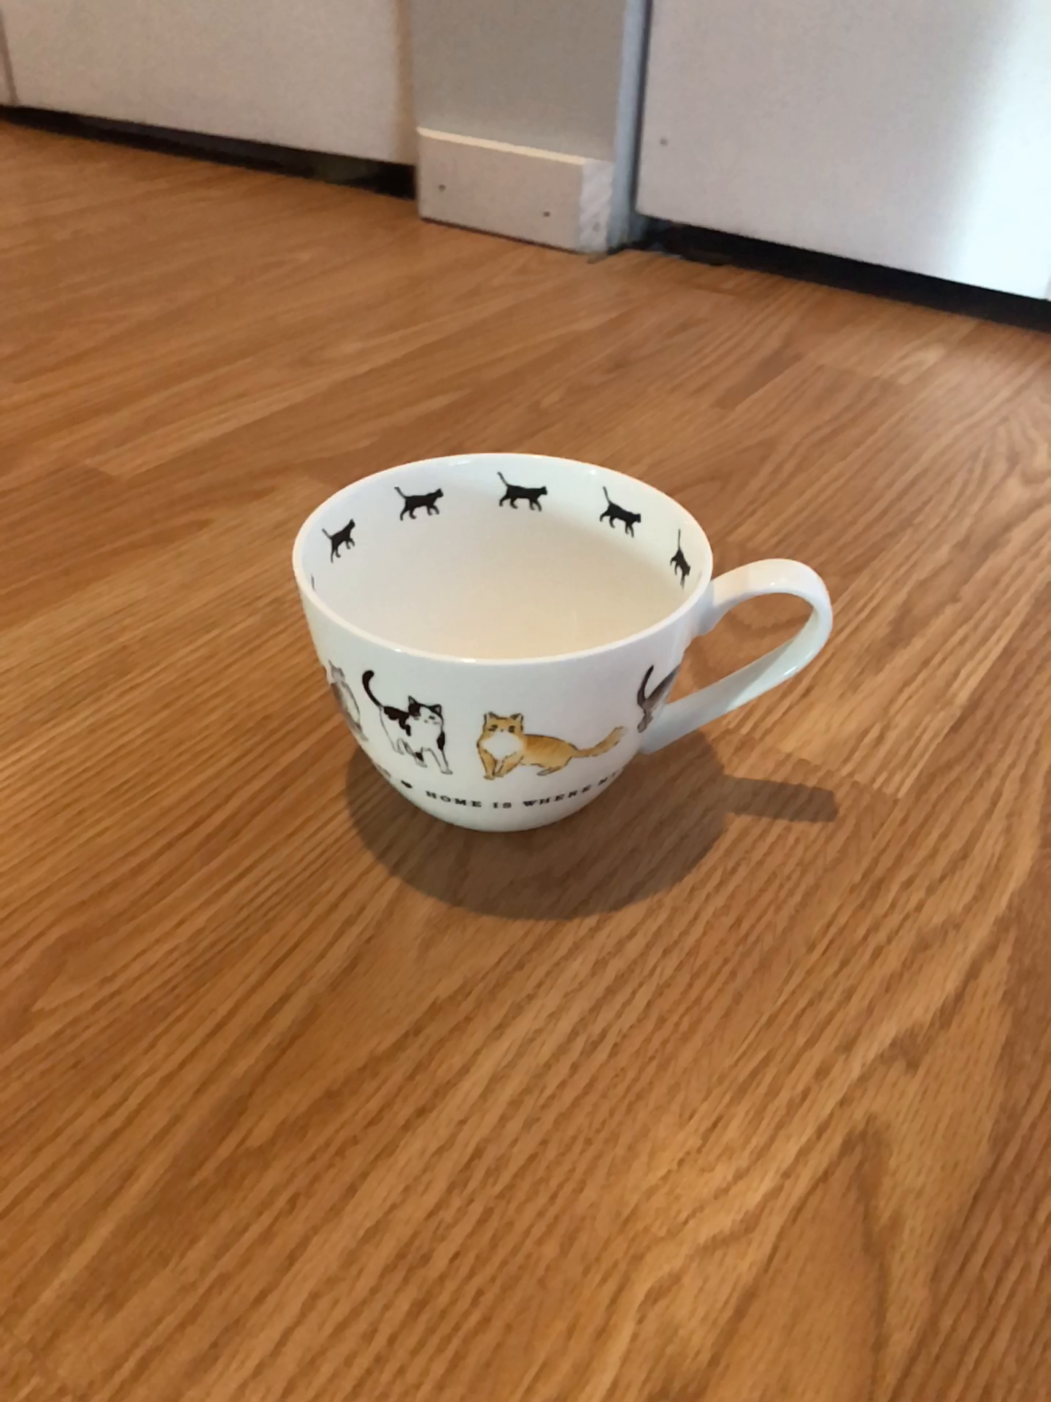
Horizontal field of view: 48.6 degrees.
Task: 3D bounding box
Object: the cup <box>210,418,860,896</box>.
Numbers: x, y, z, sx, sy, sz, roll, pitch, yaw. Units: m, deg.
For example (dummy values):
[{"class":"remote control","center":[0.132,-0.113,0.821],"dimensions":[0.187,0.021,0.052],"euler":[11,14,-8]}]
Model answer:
[{"class":"cup","center":[0.005,-0.019,0.357],"dimensions":[0.160,0.080,0.120],"euler":[4,37,3]}]
